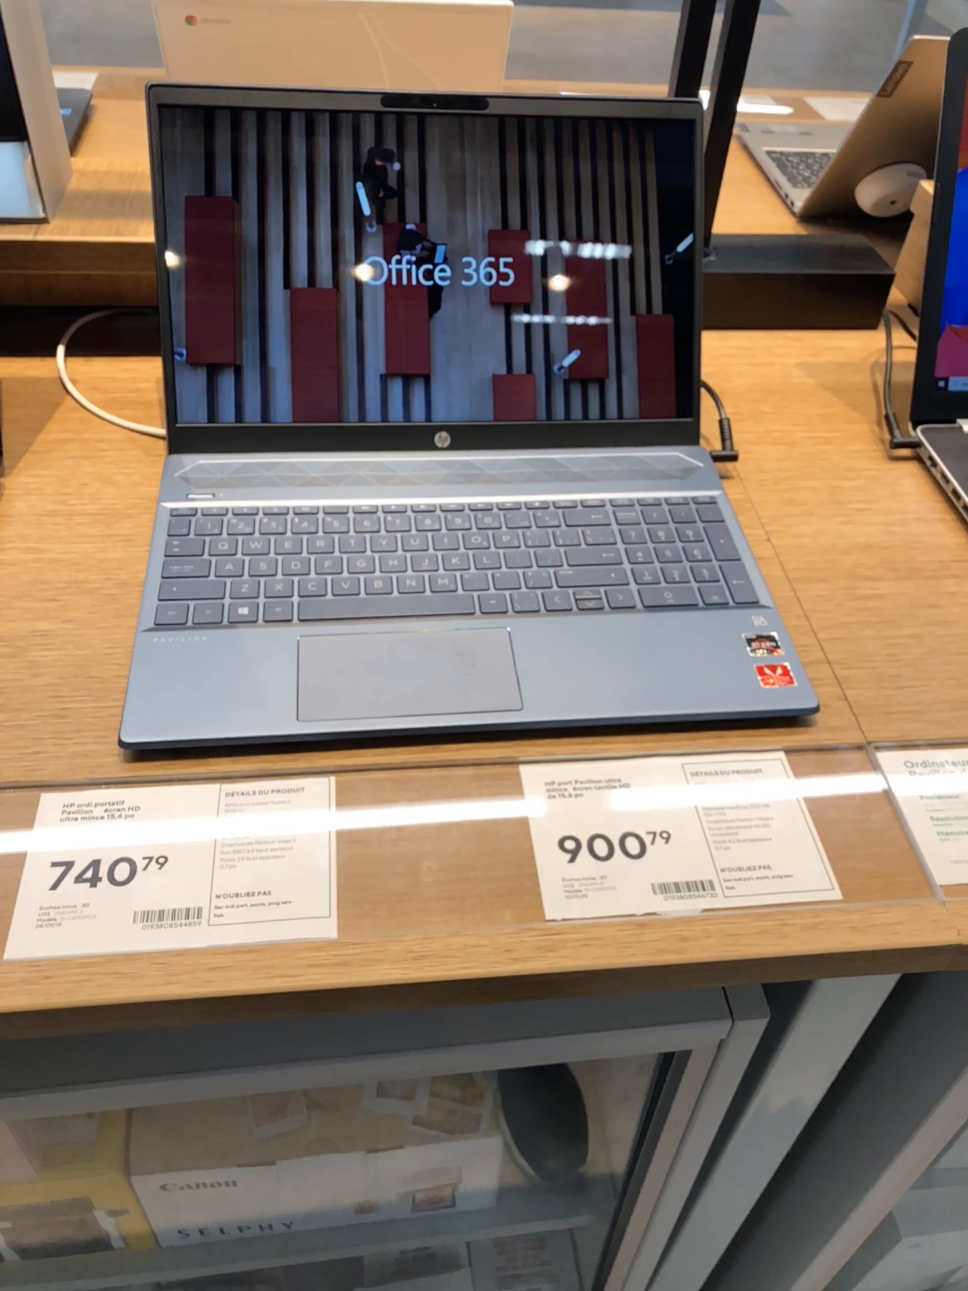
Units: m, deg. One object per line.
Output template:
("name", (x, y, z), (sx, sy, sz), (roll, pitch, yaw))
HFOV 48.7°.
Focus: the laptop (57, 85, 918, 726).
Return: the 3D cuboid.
("laptop", (-0.016, -0.156, 0.606), (0.338, 0.185, 0.357), (-2, 43, -8))
